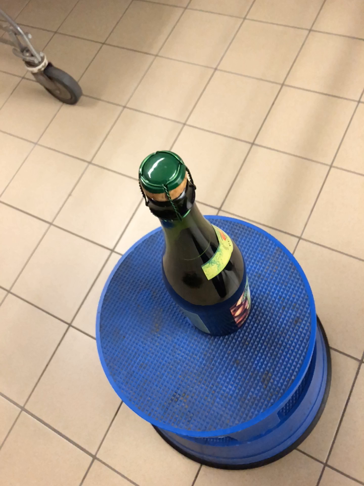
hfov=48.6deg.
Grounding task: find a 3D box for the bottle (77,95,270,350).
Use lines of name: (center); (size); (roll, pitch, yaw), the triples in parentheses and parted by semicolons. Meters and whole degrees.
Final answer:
bottle: (0.018, 0.018, 0.362); (0.090, 0.289, 0.090); (-5, 66, 11)
